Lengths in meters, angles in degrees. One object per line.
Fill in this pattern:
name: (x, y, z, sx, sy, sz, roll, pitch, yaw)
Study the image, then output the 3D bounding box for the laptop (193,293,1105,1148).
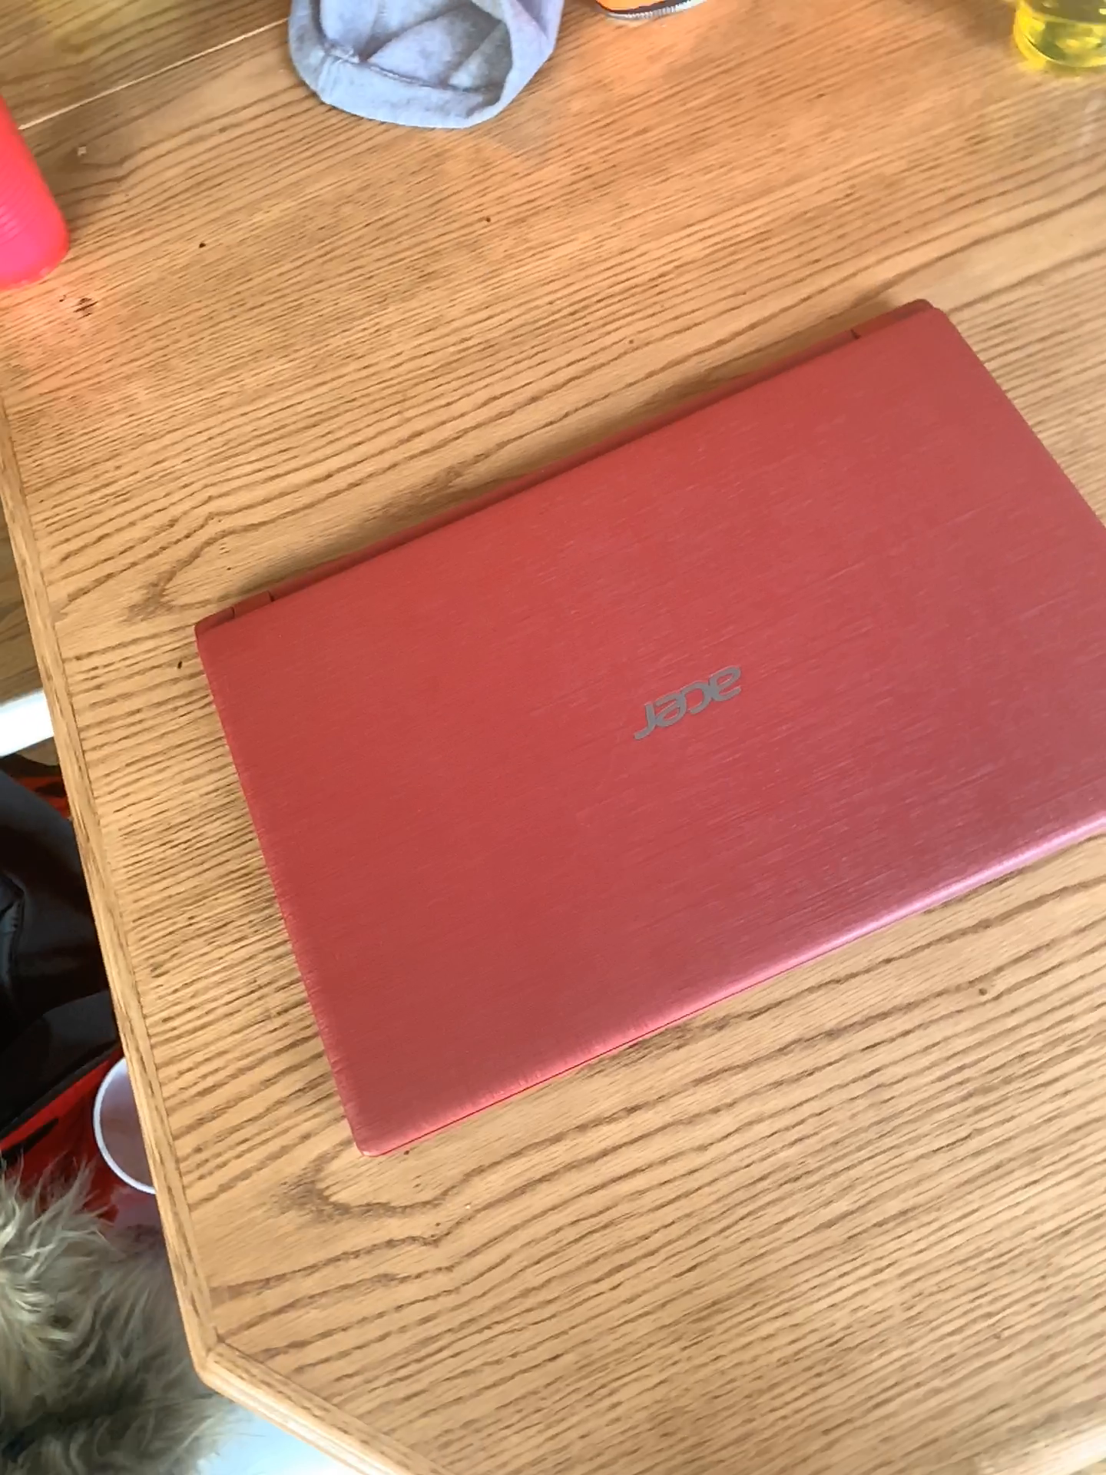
laptop: (0.051, -0.020, 0.468, 0.362, 0.013, 0.236, -24, 69, 0)
